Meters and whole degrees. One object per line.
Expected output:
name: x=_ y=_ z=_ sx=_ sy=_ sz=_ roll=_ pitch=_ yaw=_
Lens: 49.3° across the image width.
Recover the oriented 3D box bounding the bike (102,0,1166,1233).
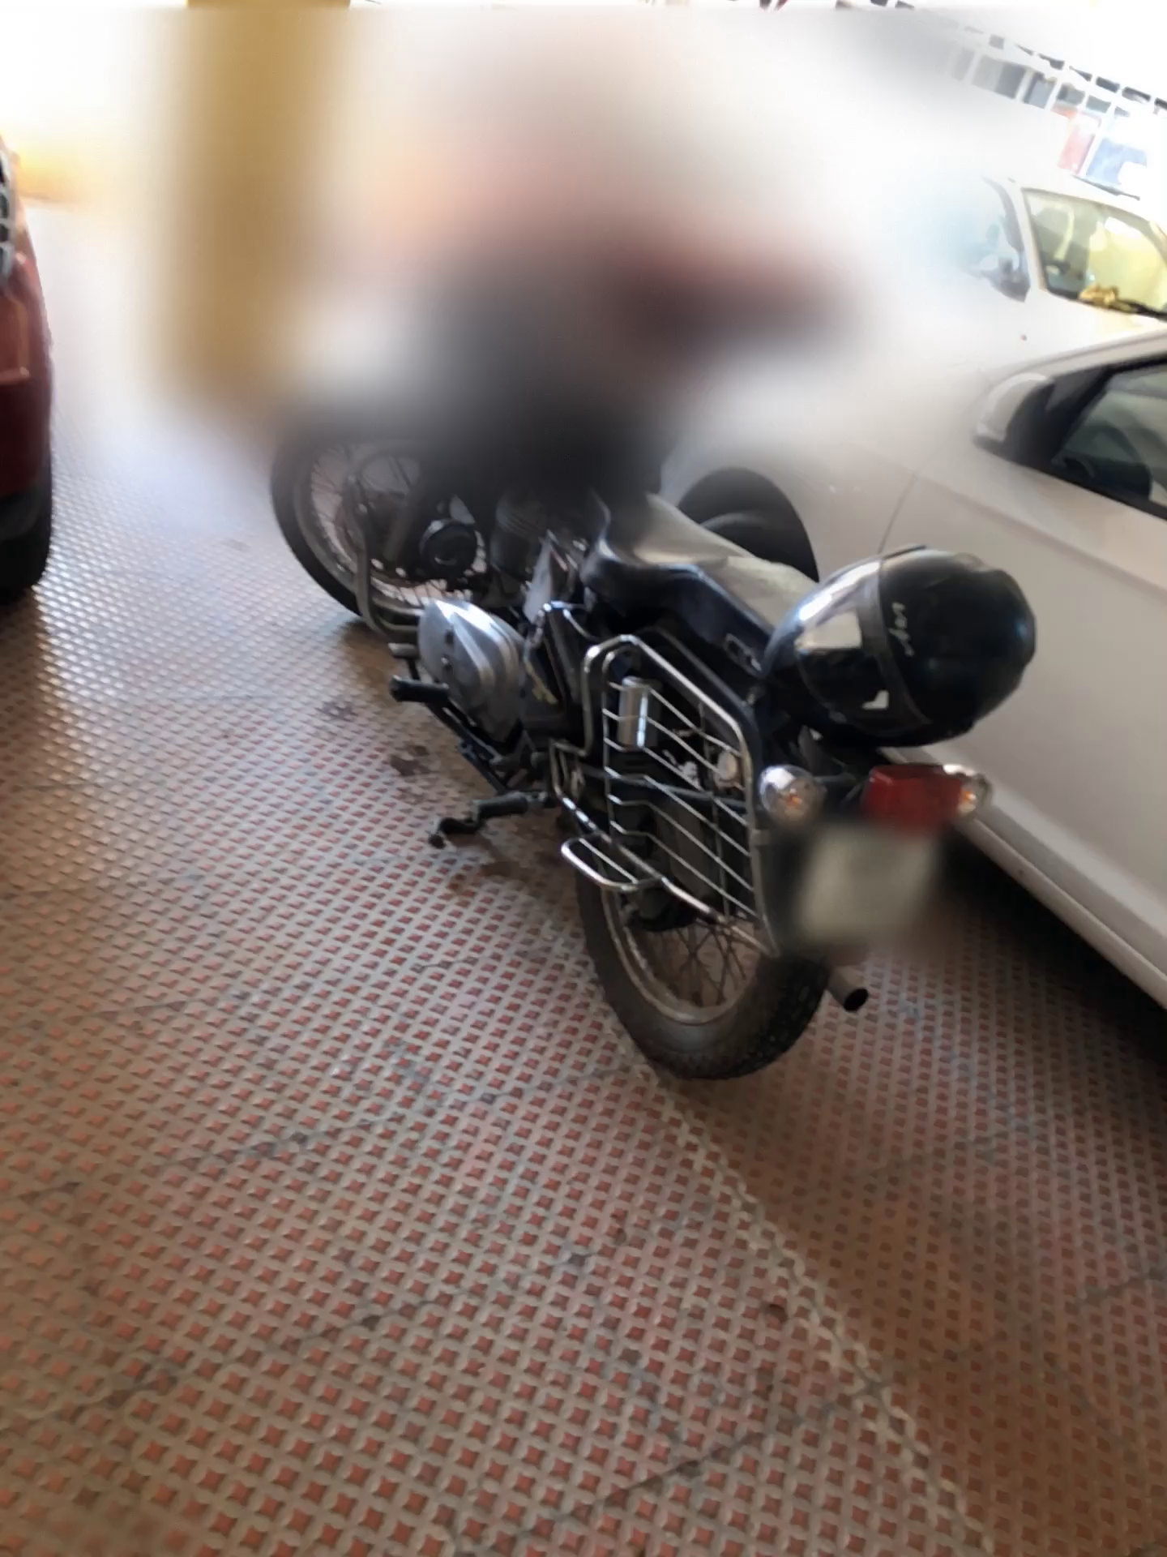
bike: x=-0.149 y=-0.391 z=2.259 sx=0.694 sy=1.217 sz=1.788 roll=-8 pitch=41 yaw=-37
